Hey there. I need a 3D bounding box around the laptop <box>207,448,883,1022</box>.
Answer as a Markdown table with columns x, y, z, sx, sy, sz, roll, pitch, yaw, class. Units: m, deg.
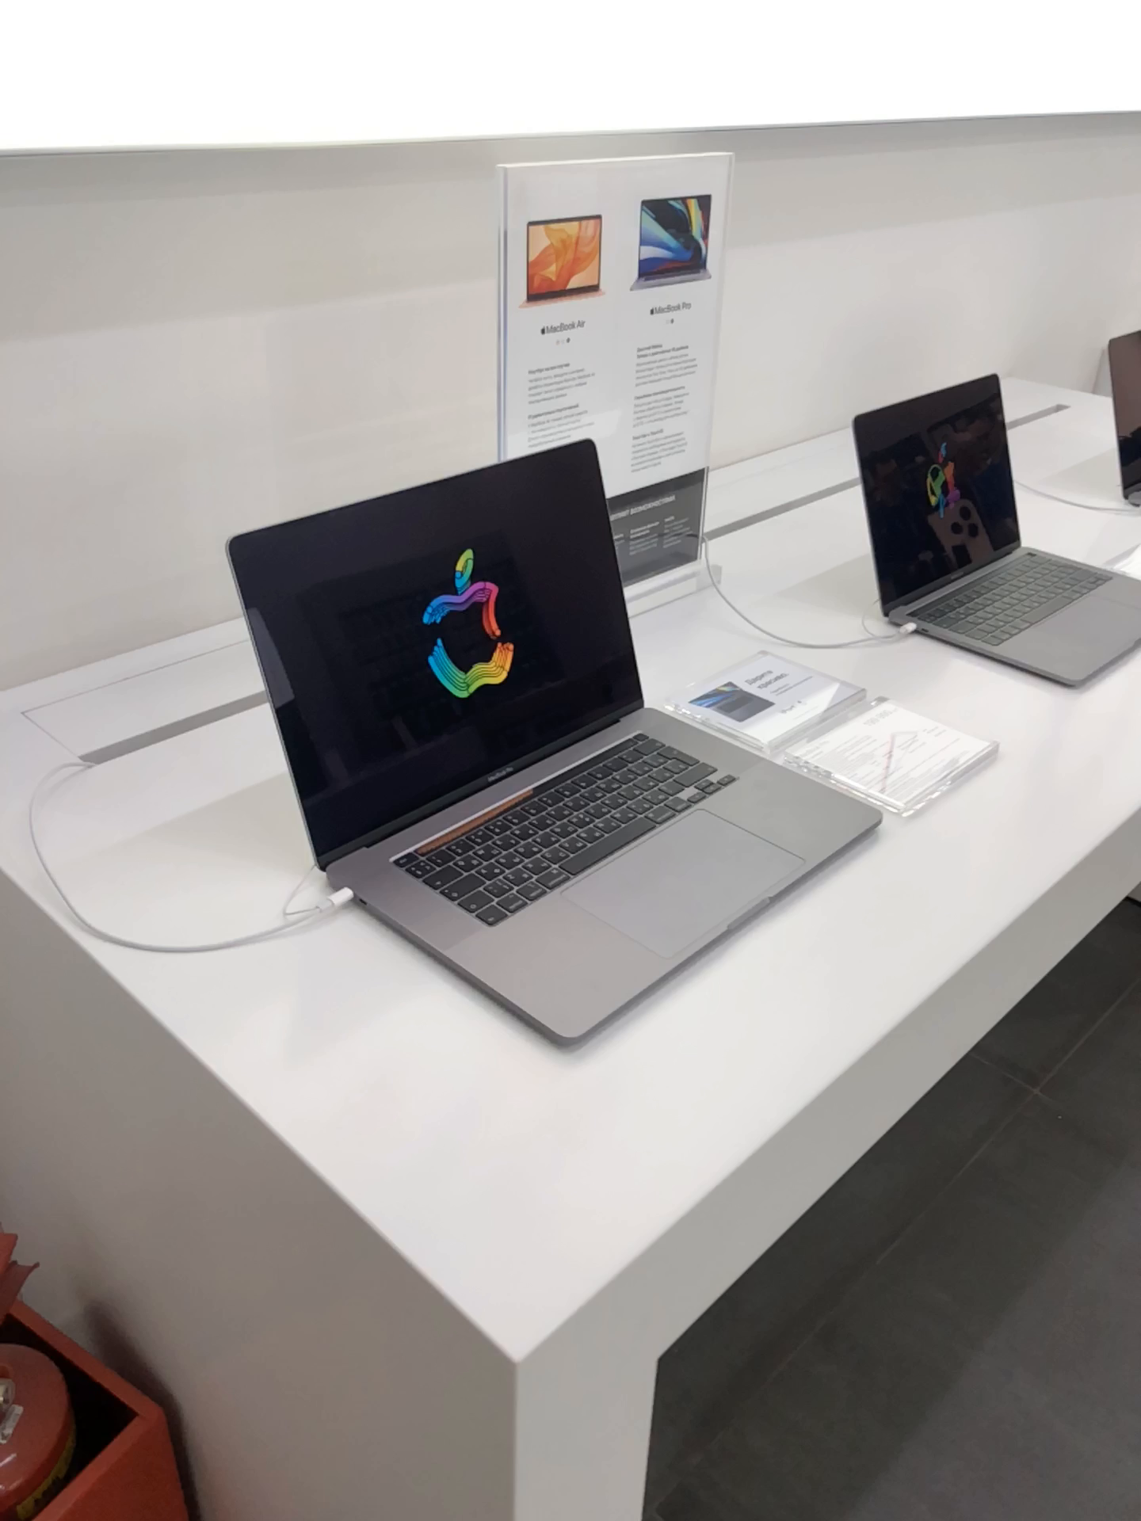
| x | y | z | sx | sy | sz | roll | pitch | yaw | class |
| --- | --- | --- | --- | --- | --- | --- | --- | --- | --- |
| -0.016 | -0.051 | 0.884 | 0.310 | 0.209 | 0.329 | 27 | 38 | 35 | laptop |
